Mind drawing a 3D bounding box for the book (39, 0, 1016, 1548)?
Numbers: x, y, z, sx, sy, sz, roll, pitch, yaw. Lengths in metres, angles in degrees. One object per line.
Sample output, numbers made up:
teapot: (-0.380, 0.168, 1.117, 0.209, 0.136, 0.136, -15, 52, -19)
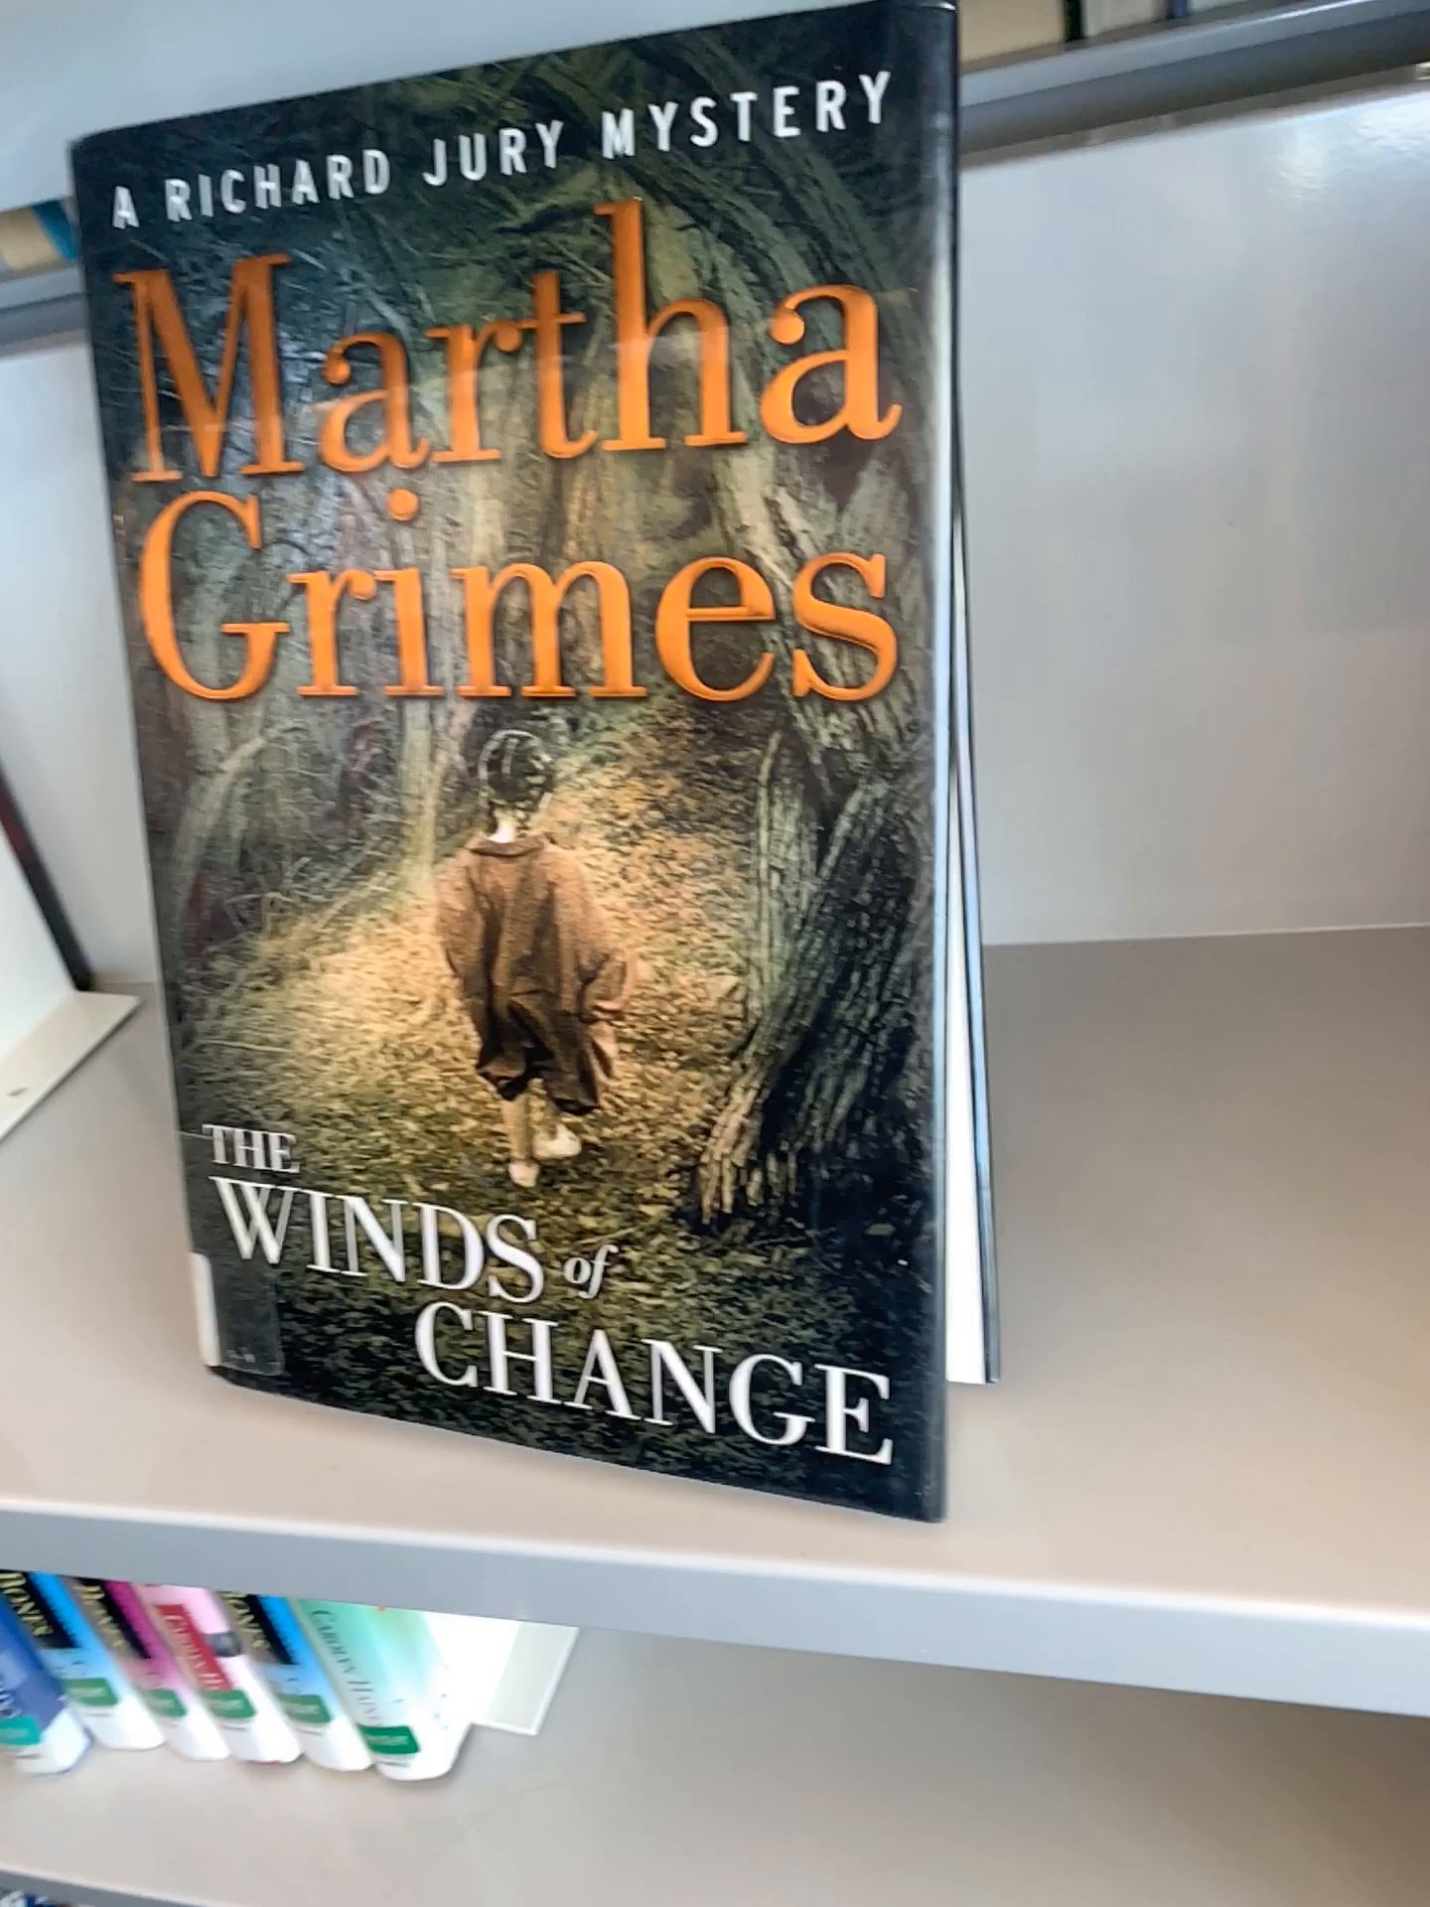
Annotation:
book: (-0.029, -0.028, 0.276, 0.160, 0.244, 0.050, 3, 13, 22)
